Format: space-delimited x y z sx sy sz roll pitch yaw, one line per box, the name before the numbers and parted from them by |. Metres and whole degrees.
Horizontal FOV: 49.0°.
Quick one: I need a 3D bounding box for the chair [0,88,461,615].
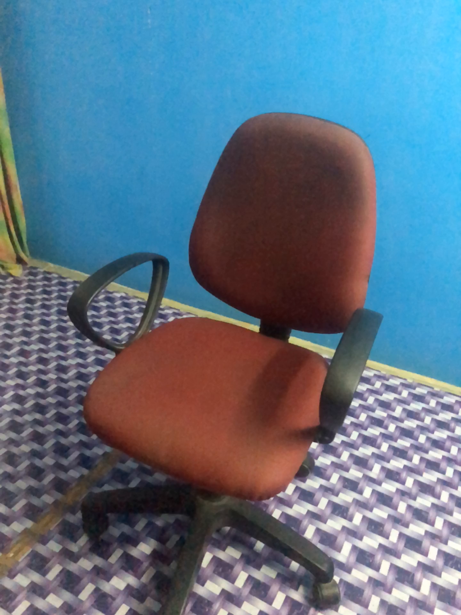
chair | -0.017 0.107 1.025 0.700 0.895 0.744 20 34 27
